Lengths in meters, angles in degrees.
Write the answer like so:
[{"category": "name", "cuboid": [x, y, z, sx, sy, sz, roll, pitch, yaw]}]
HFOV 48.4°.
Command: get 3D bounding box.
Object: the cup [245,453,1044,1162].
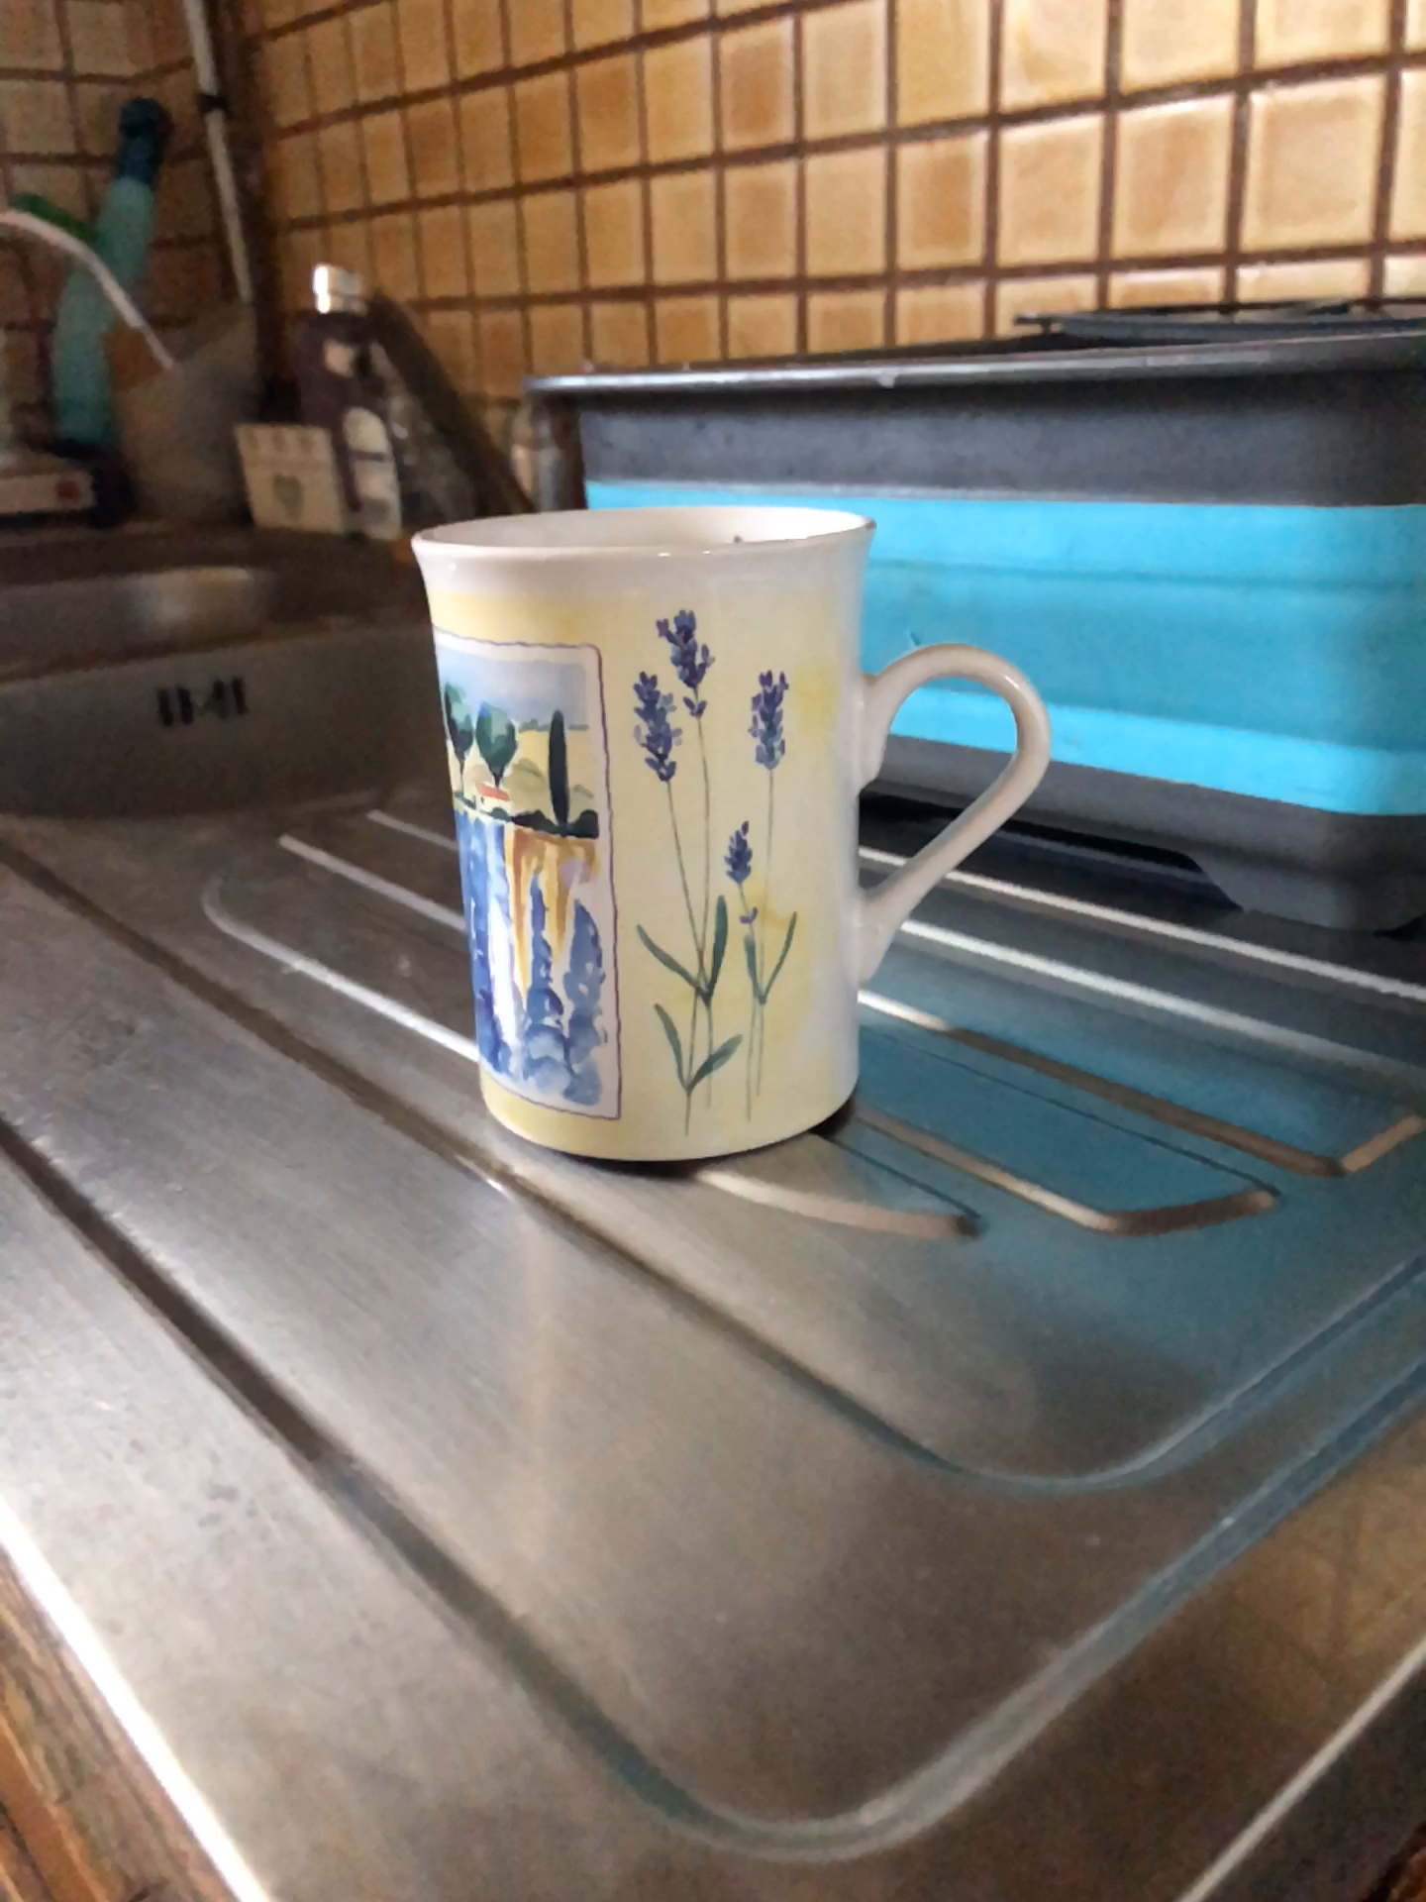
[{"category": "cup", "cuboid": [-0.005, -0.027, 0.266, 0.110, 0.100, 0.070, 0, 21, 7]}]
